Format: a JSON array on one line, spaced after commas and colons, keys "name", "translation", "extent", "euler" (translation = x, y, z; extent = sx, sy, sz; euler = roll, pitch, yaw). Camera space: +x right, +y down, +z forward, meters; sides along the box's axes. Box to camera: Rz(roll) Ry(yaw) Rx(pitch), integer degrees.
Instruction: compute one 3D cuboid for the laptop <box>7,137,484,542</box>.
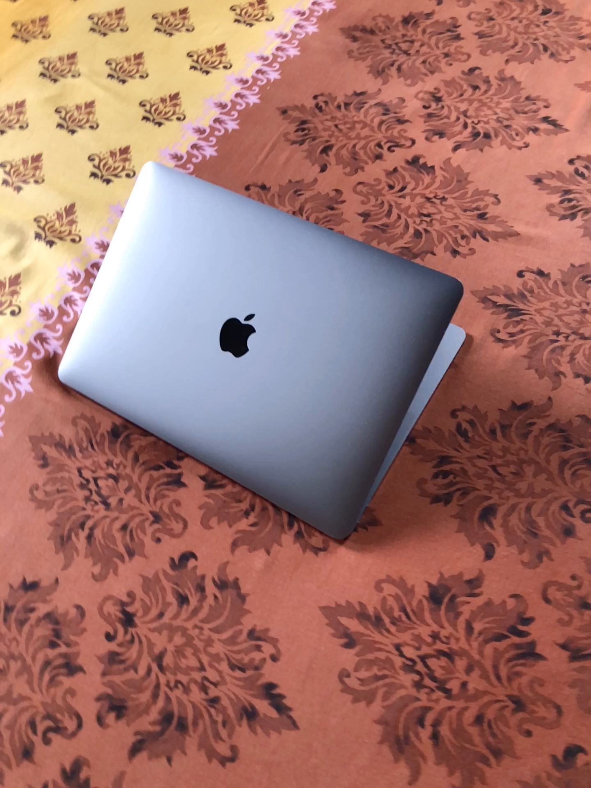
[{"name": "laptop", "translation": [-0.037, -0.055, 0.513], "extent": [0.286, 0.093, 0.204], "euler": [27, 71, 19]}]
